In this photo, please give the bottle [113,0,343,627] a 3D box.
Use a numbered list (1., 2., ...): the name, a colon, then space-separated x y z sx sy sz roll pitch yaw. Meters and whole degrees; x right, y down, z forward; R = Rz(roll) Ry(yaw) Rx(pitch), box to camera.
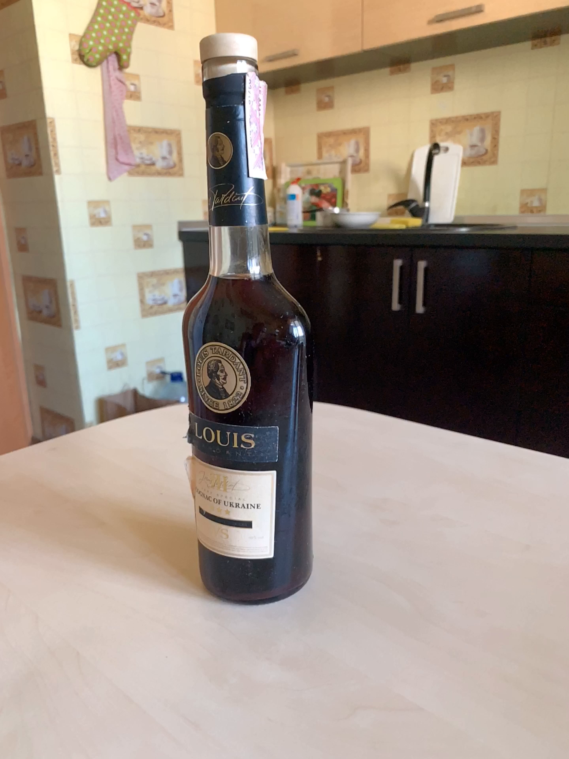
1. bottle: -0.020 -0.024 0.321 0.080 0.289 0.080 -1 16 0
